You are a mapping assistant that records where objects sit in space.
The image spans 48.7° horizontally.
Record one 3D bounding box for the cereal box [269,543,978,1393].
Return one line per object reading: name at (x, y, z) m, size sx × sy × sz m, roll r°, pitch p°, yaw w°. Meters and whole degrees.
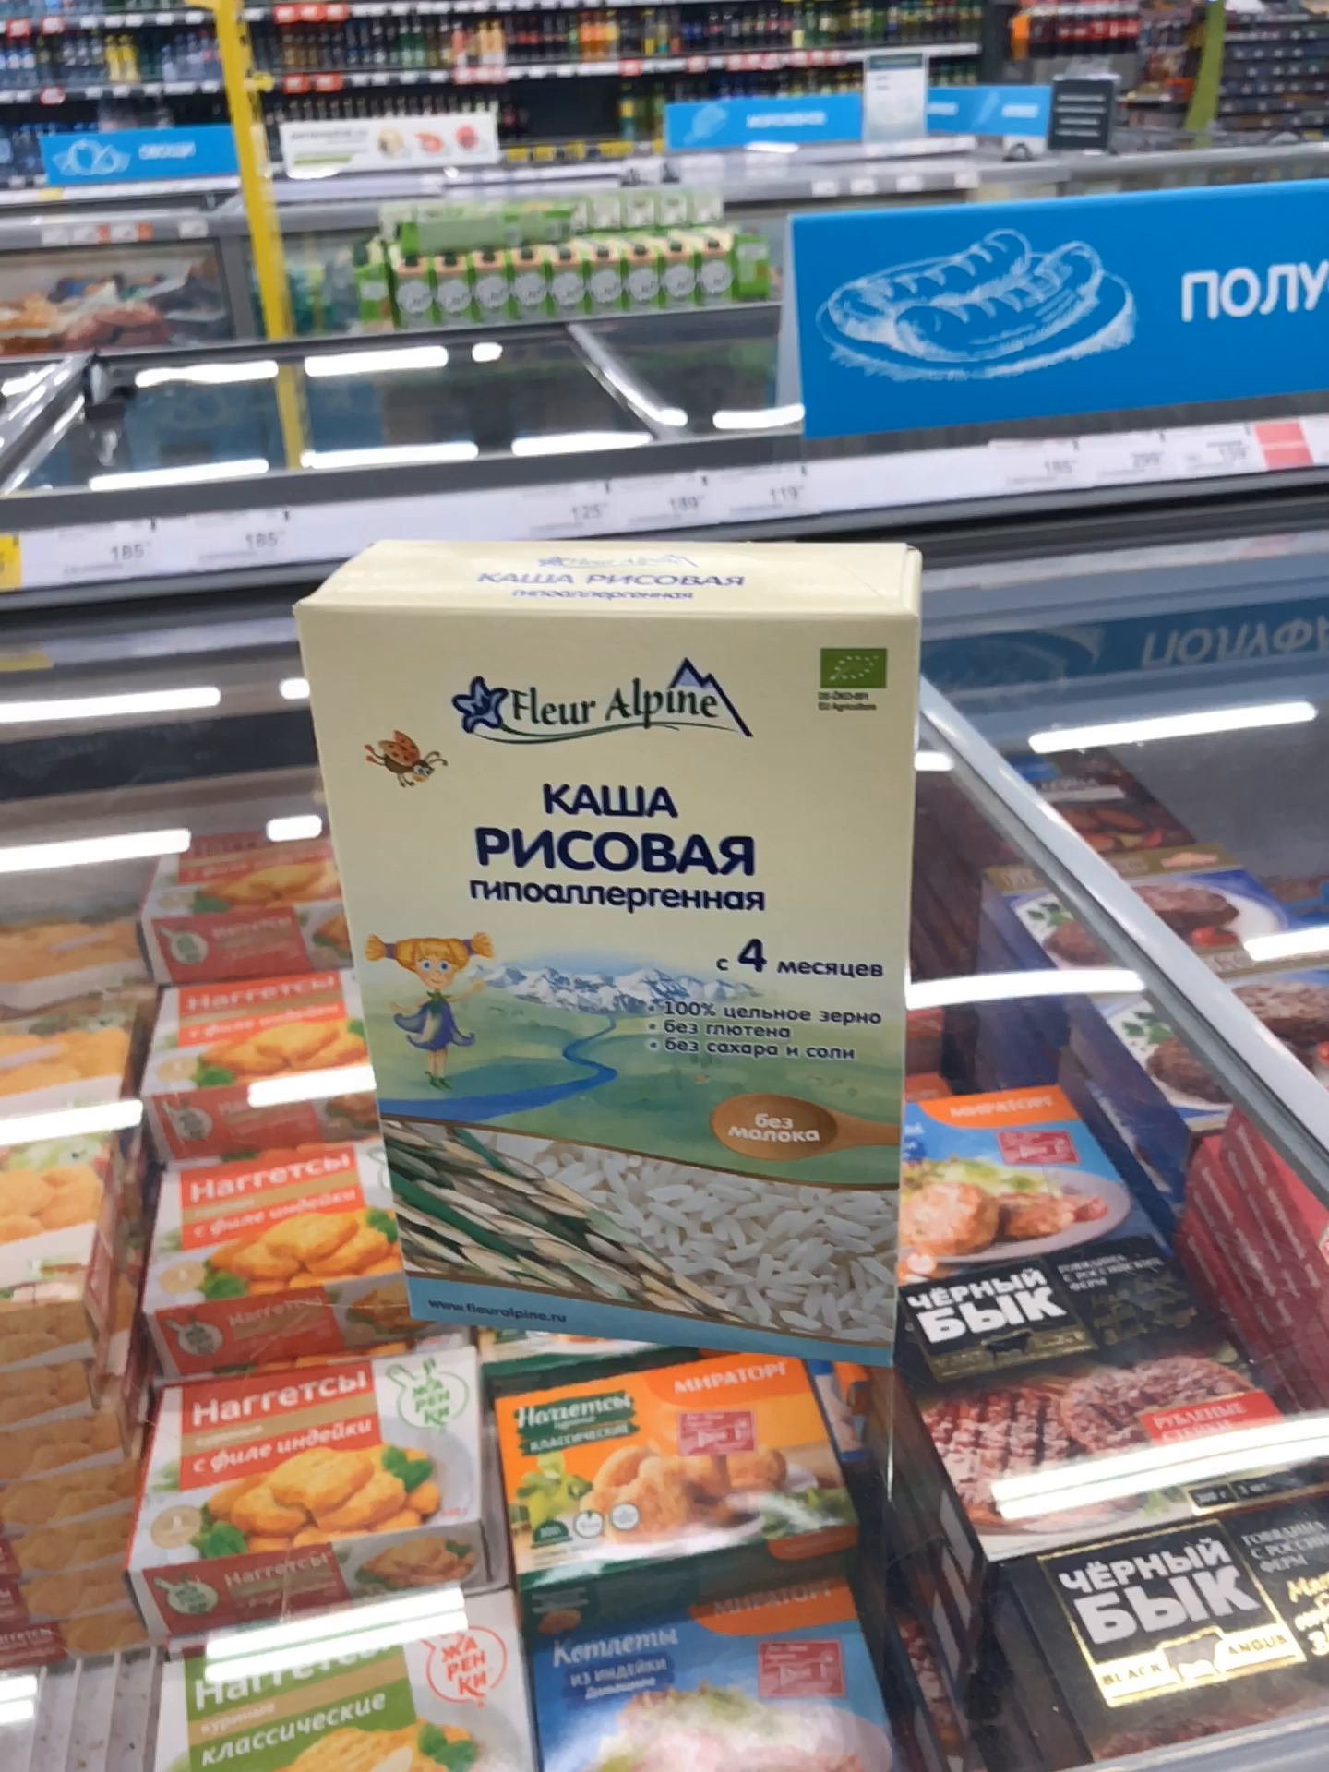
cereal box at (-0.002, 0.023, 0.352) m, size 0.140 × 0.199 × 0.050 m, roll 2°, pitch 29°, yaw 10°
